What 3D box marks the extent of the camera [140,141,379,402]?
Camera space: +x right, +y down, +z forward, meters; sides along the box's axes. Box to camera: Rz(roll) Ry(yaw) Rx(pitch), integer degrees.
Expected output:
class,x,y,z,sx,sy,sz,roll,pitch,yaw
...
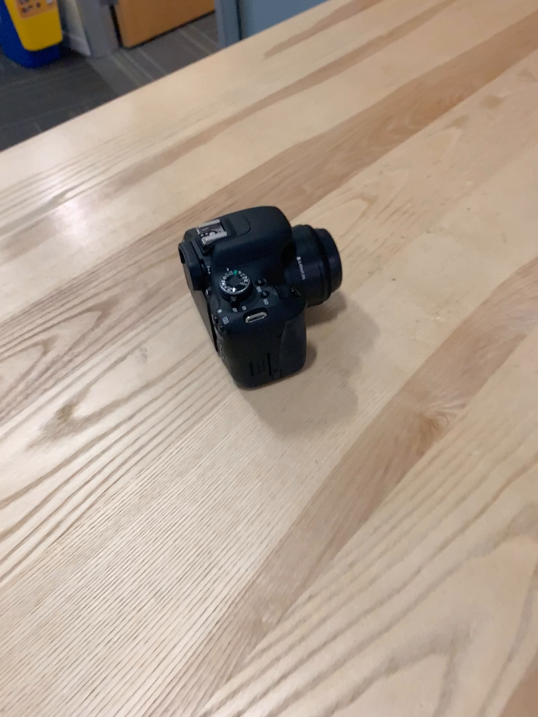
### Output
class,x,y,z,sx,sy,sz,roll,pitch,yaw
camera,-0.010,-0.070,0.421,0.120,0.100,0.145,-19,50,-11
